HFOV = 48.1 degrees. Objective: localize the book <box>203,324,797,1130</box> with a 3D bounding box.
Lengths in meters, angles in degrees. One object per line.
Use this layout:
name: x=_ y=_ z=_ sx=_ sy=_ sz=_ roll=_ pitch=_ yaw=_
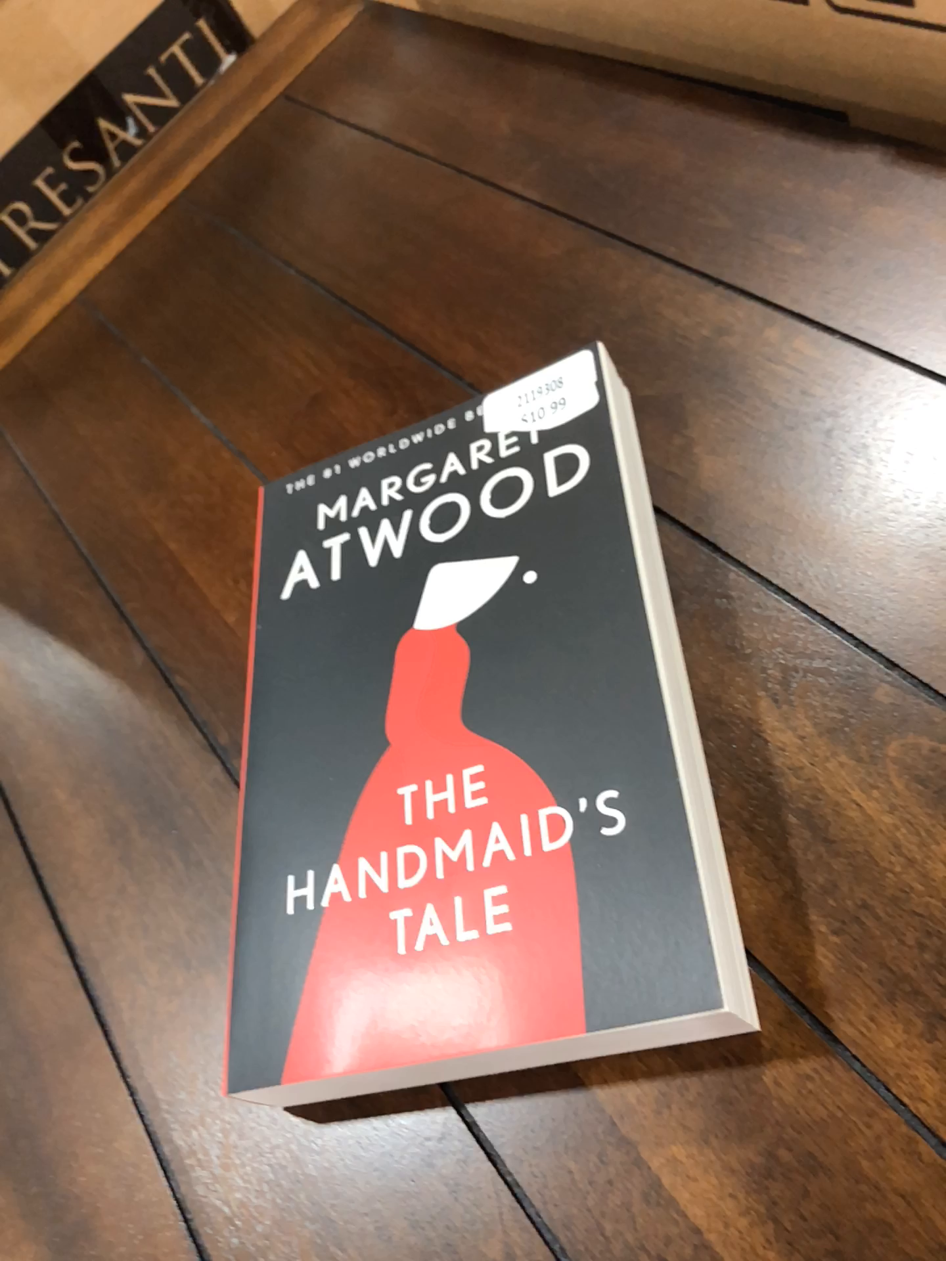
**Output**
book: x=-0.003 y=0.019 z=0.303 sx=0.138 sy=0.030 sz=0.207 roll=-18 pitch=53 yaw=20
